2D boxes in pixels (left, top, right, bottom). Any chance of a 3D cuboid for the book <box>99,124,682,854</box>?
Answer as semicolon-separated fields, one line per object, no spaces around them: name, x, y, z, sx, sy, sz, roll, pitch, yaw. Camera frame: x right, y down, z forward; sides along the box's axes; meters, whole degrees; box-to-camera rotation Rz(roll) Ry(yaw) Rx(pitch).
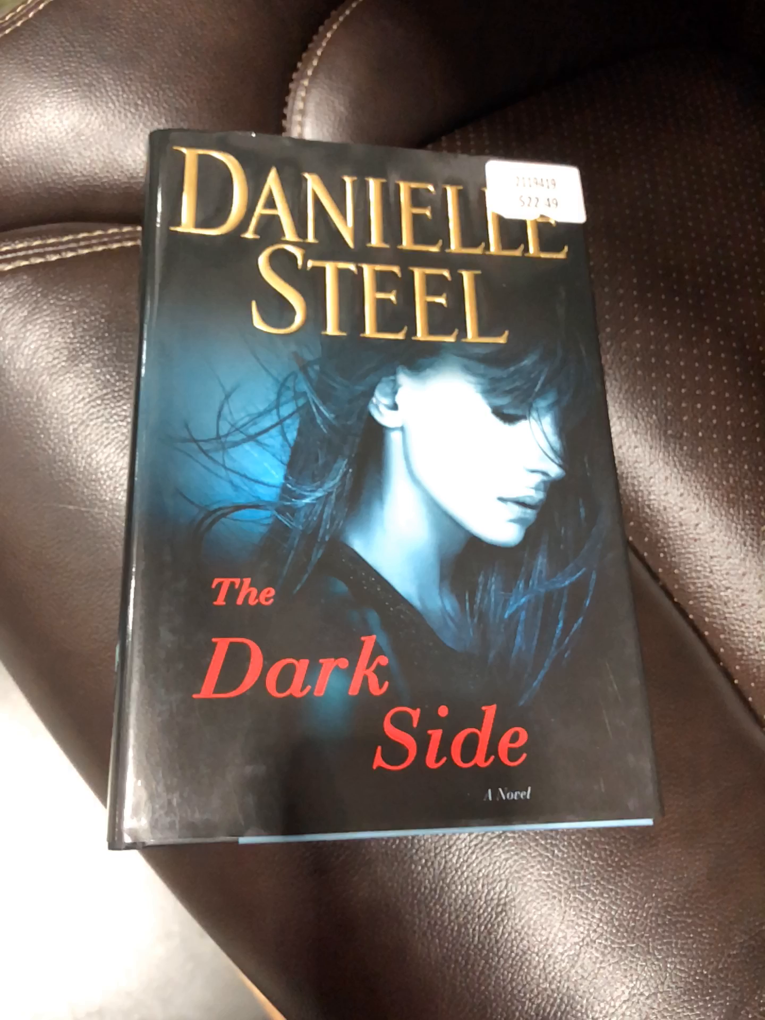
book;-0.001;-0.014;0.297;0.168;0.040;0.237;1;72;-10
